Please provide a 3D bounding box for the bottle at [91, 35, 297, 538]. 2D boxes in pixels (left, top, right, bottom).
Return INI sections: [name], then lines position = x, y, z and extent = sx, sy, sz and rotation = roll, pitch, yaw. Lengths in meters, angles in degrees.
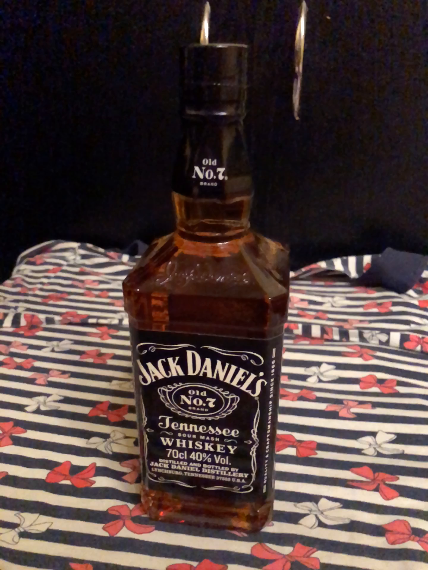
[bottle]
position = -0.002, 0.010, 0.252
extent = 0.074, 0.246, 0.073
rotation = 0, 24, 0
